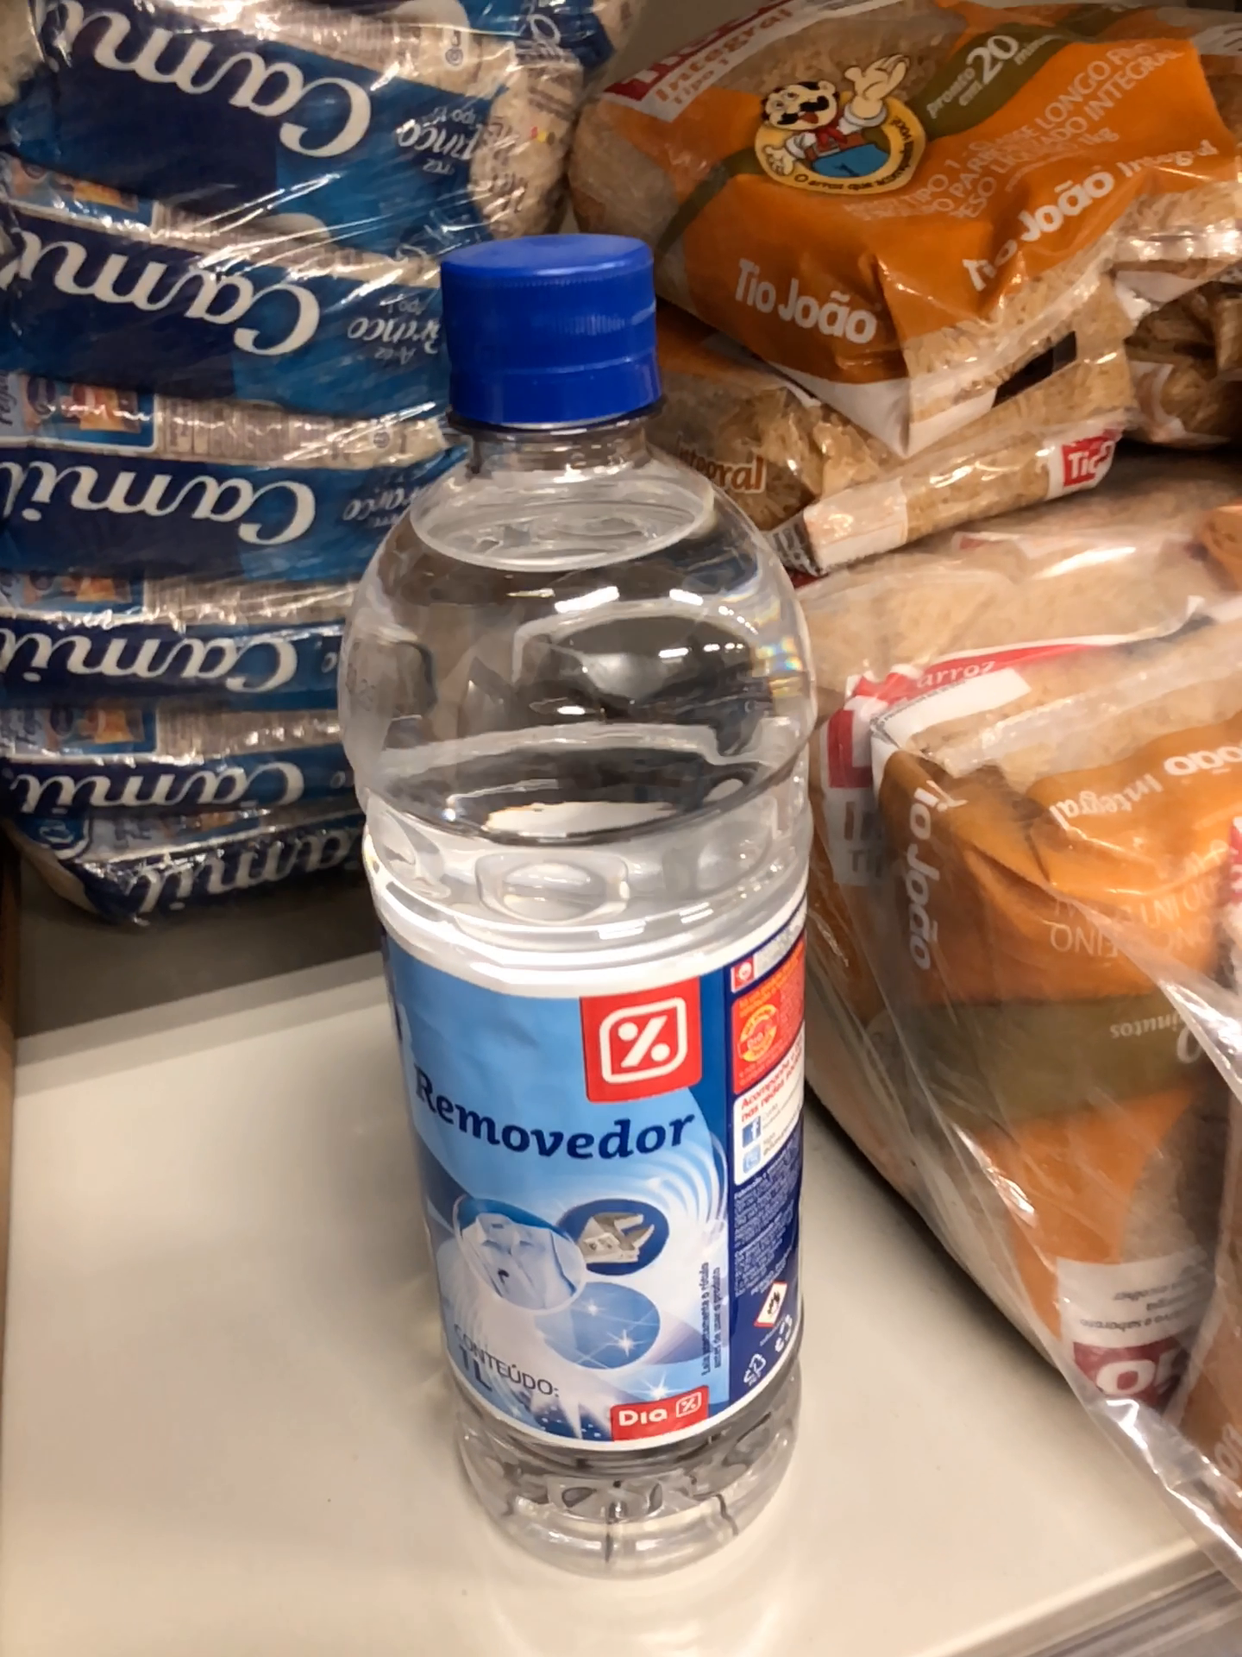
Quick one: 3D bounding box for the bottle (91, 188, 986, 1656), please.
[{"bbox_3d":[-0.003,0.032,0.256,0.080,0.258,0.090,24,43,35],"label":"bottle"}]
